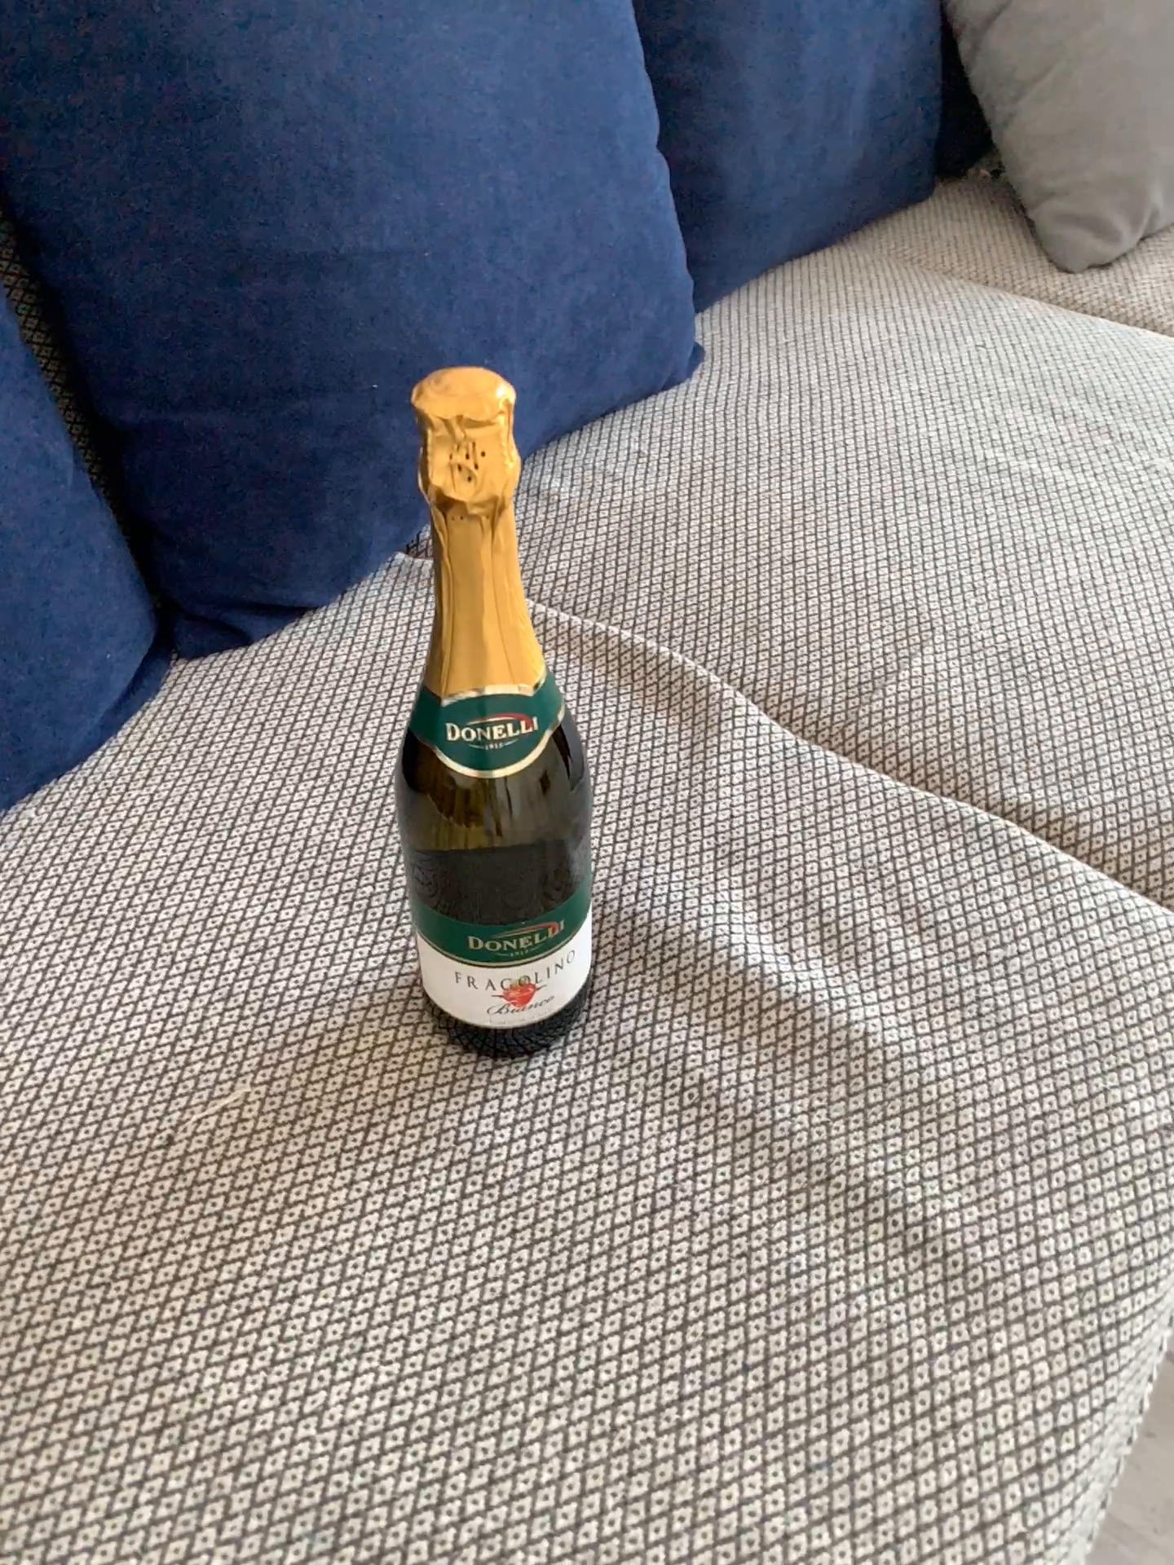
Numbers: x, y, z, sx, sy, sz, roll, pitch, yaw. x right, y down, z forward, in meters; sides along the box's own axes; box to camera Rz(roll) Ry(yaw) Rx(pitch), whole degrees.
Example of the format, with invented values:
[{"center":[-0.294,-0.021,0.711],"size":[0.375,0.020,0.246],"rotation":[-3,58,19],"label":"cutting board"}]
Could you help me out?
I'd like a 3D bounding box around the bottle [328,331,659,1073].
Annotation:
[{"center":[-0.033,-0.012,0.468],"size":[0.090,0.289,0.090],"rotation":[0,44,0],"label":"bottle"}]
